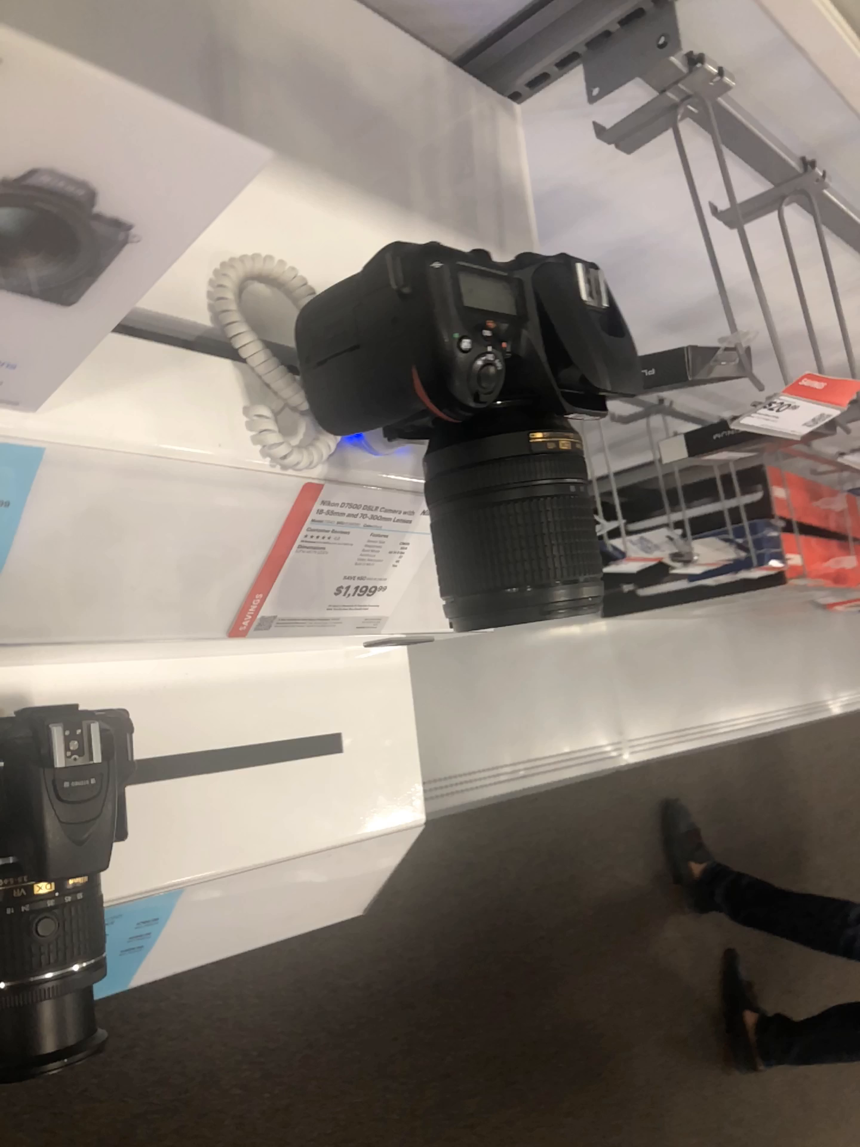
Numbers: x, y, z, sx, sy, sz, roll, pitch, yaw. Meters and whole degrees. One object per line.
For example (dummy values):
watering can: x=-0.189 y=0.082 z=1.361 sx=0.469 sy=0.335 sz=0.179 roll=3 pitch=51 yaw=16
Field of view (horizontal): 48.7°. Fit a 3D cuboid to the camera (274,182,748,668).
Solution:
camera: x=0.040 y=-0.054 z=0.425 sx=0.161 sy=0.109 sz=0.160 roll=-5 pitch=82 yaw=-48
